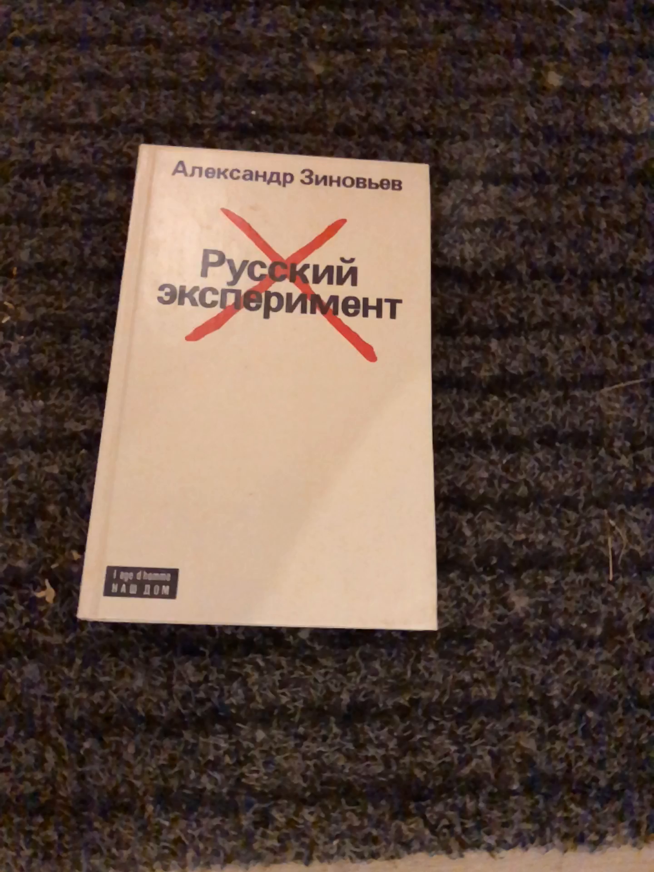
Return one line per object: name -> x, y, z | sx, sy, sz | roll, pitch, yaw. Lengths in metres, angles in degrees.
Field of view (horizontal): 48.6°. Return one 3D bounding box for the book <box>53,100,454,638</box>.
book -> -0.019, -0.028, 0.266 | 0.120, 0.040, 0.190 | 3, 72, -2
